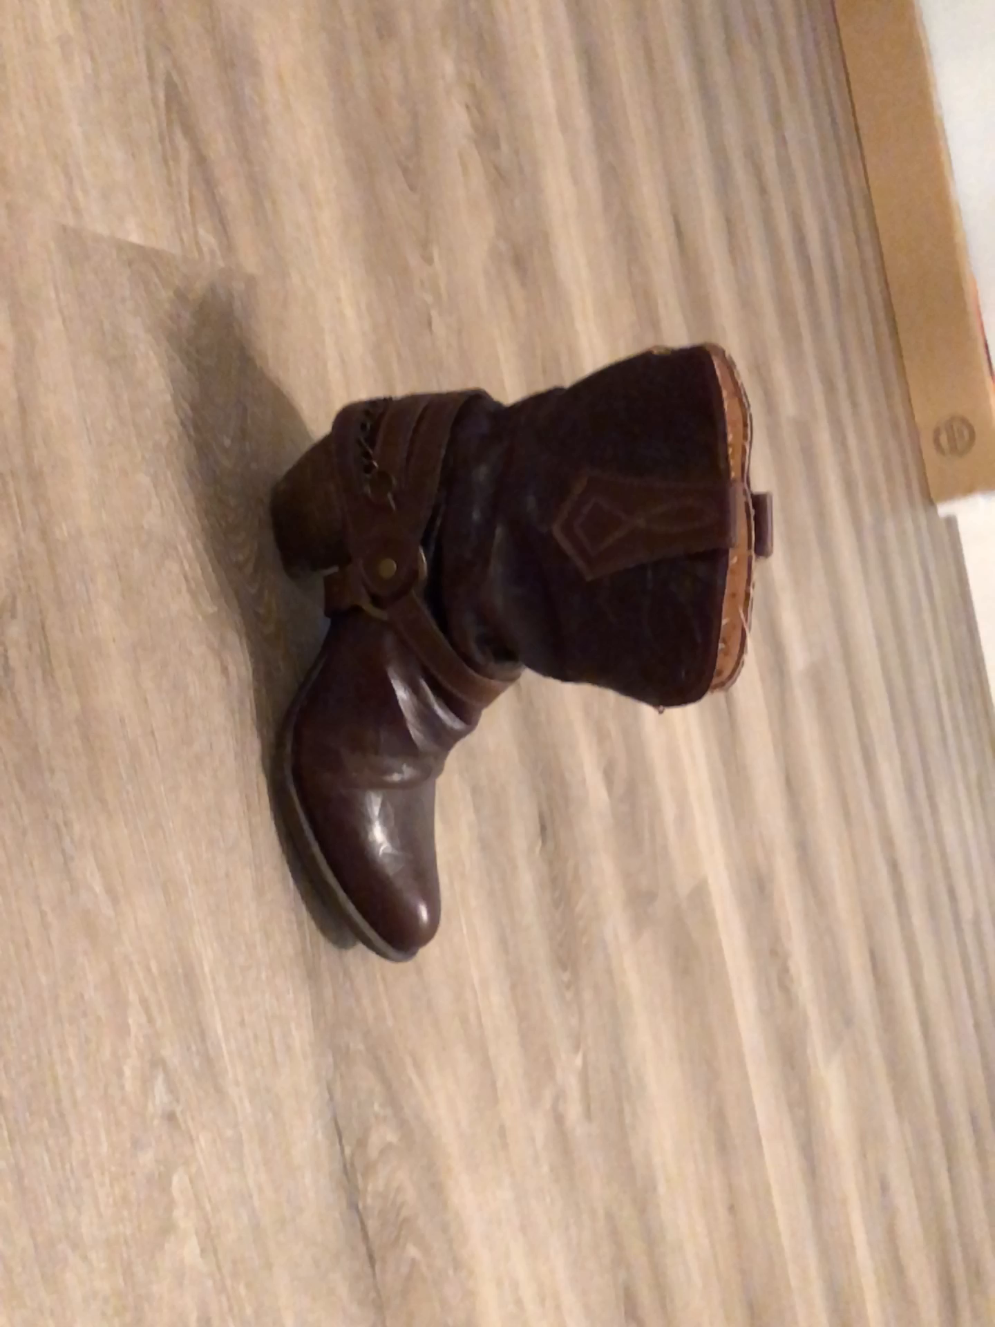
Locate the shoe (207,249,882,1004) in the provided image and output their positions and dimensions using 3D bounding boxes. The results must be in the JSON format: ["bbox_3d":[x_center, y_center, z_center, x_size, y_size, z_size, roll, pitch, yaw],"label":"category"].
[{"bbox_3d":[0.016,0.000,0.445,0.101,0.209,0.240,-8,88,-60],"label":"shoe"}]
